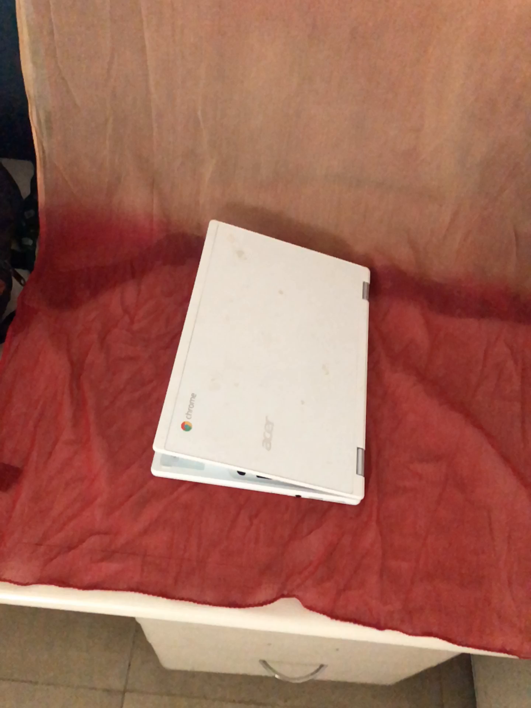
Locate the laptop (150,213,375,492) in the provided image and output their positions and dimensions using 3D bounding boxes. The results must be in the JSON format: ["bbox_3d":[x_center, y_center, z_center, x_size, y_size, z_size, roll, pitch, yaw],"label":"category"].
[{"bbox_3d":[0.011,-0.017,0.614,0.189,0.055,0.289,9,55,2],"label":"laptop"}]
